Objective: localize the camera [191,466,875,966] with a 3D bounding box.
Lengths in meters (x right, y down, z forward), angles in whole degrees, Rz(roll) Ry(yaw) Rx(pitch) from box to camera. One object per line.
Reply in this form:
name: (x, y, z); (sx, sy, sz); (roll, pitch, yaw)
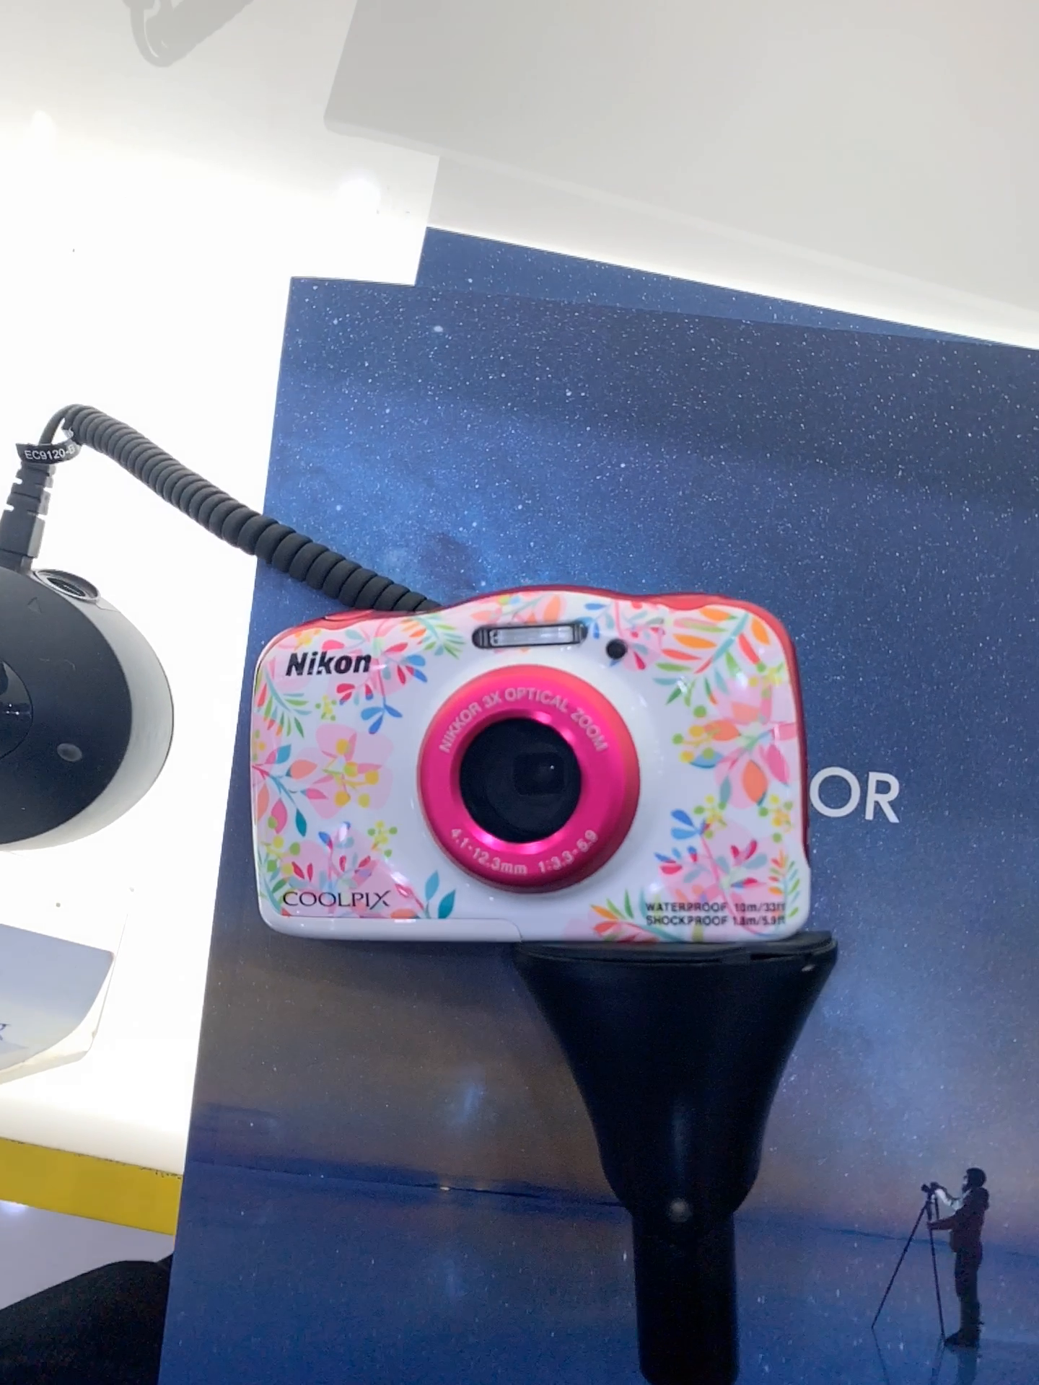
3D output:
camera: (0.001, 0.006, 0.199); (0.110, 0.040, 0.080); (-2, 80, 1)
